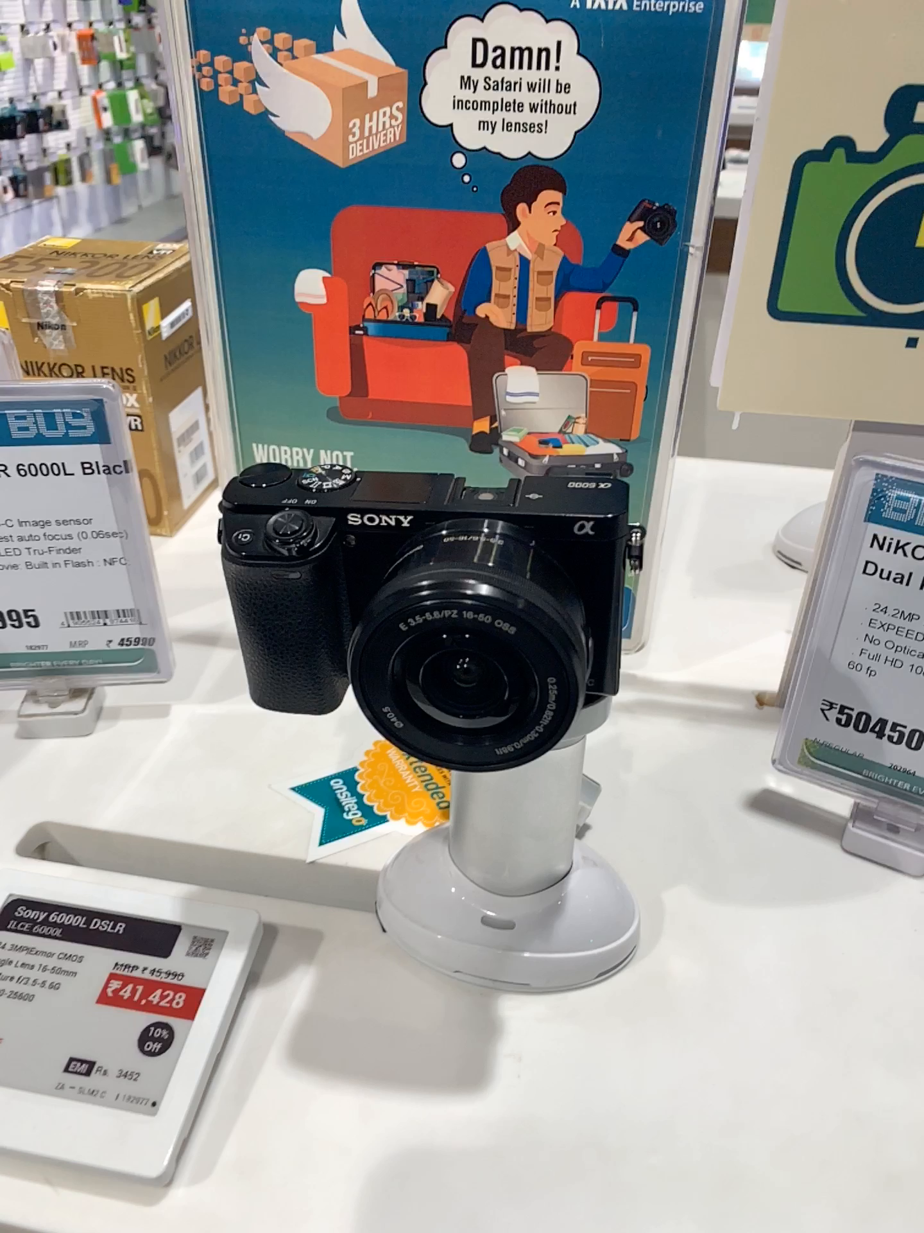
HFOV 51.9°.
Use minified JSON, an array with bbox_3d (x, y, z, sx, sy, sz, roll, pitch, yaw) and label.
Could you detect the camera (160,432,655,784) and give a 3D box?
[{"bbox_3d":[-0.012,-0.004,0.267,0.118,0.073,0.056,4,33,4],"label":"camera"}]
